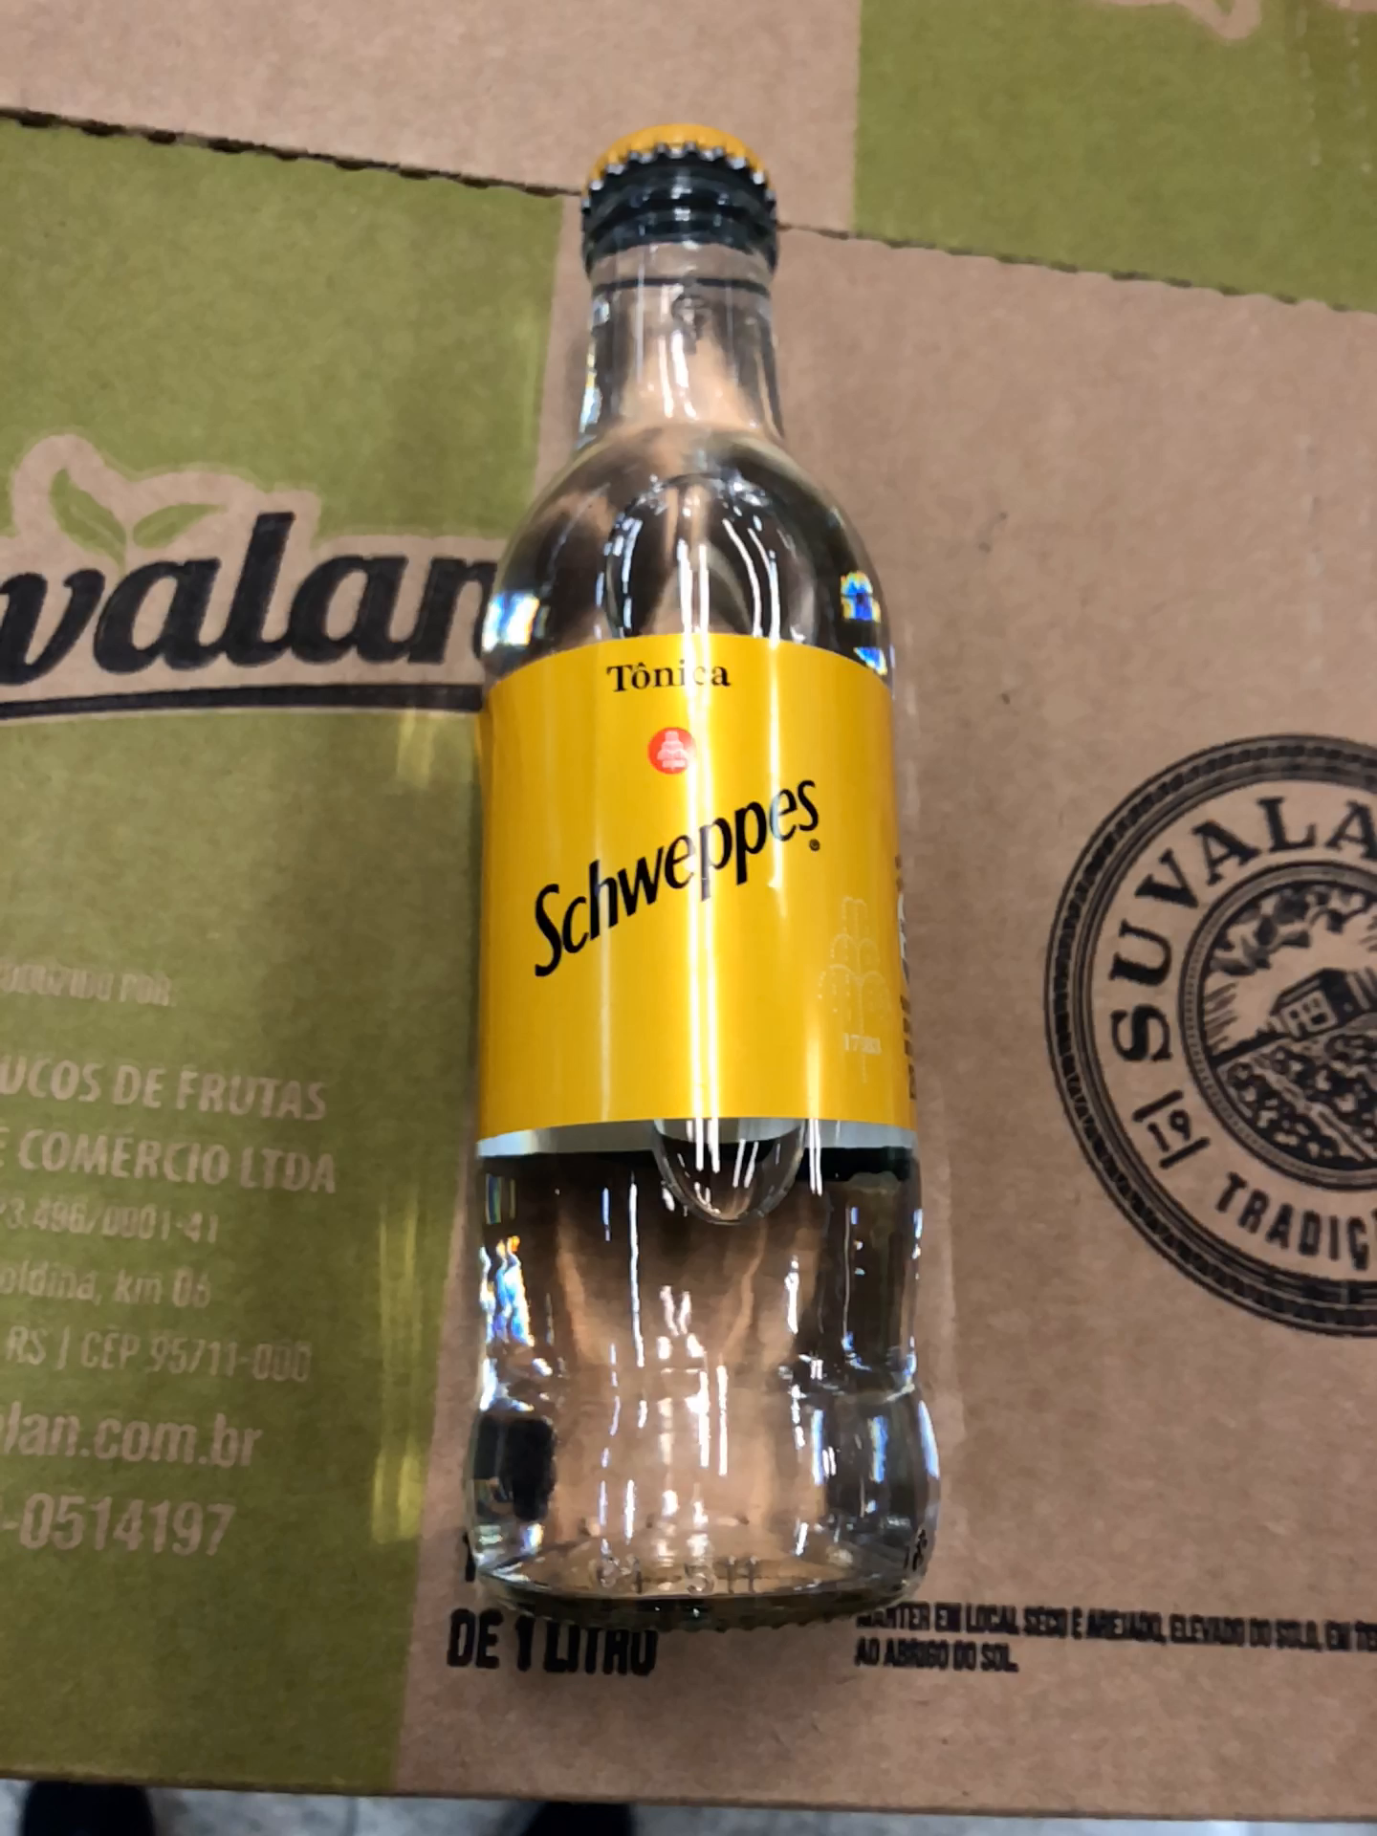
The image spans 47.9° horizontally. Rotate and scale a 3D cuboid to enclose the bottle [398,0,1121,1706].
[{"bbox_3d":[-0.001,-0.036,0.211,0.070,0.070,0.240,0,76,-9],"label":"bottle"}]
